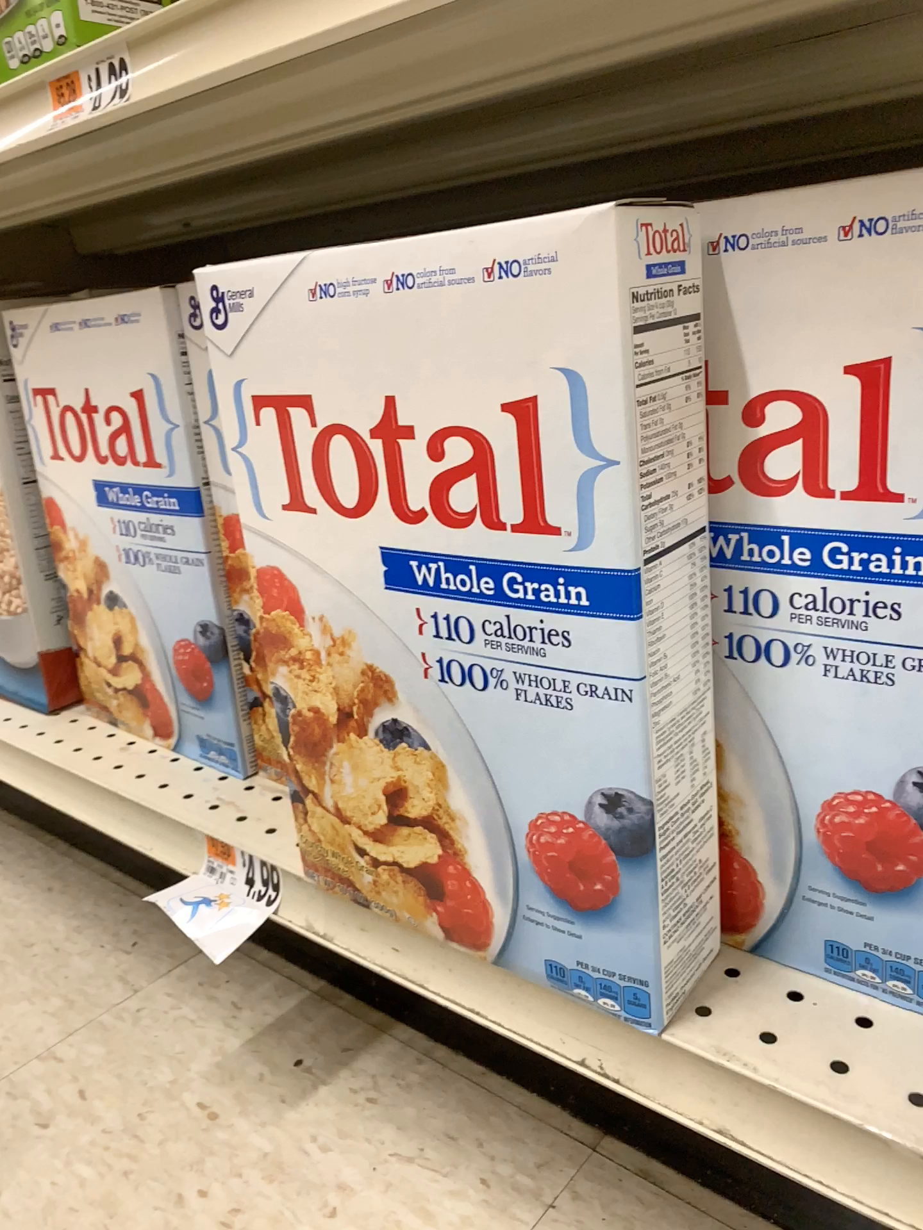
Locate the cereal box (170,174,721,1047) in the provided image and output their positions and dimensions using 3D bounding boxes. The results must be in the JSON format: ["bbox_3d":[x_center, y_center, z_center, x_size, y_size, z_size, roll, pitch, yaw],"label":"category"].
[{"bbox_3d":[-0.007,-0.002,0.368,0.200,0.279,0.050,9,24,40],"label":"cereal box"}]
